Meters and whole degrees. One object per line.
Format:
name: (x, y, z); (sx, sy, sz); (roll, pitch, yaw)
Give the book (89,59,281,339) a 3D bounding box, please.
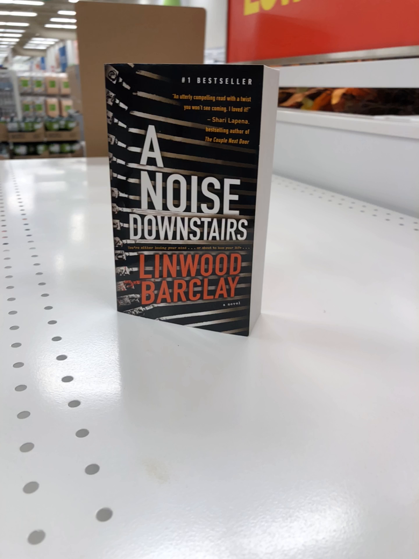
book: (-0.016, -0.054, 0.317); (0.110, 0.170, 0.041); (9, 24, 20)
